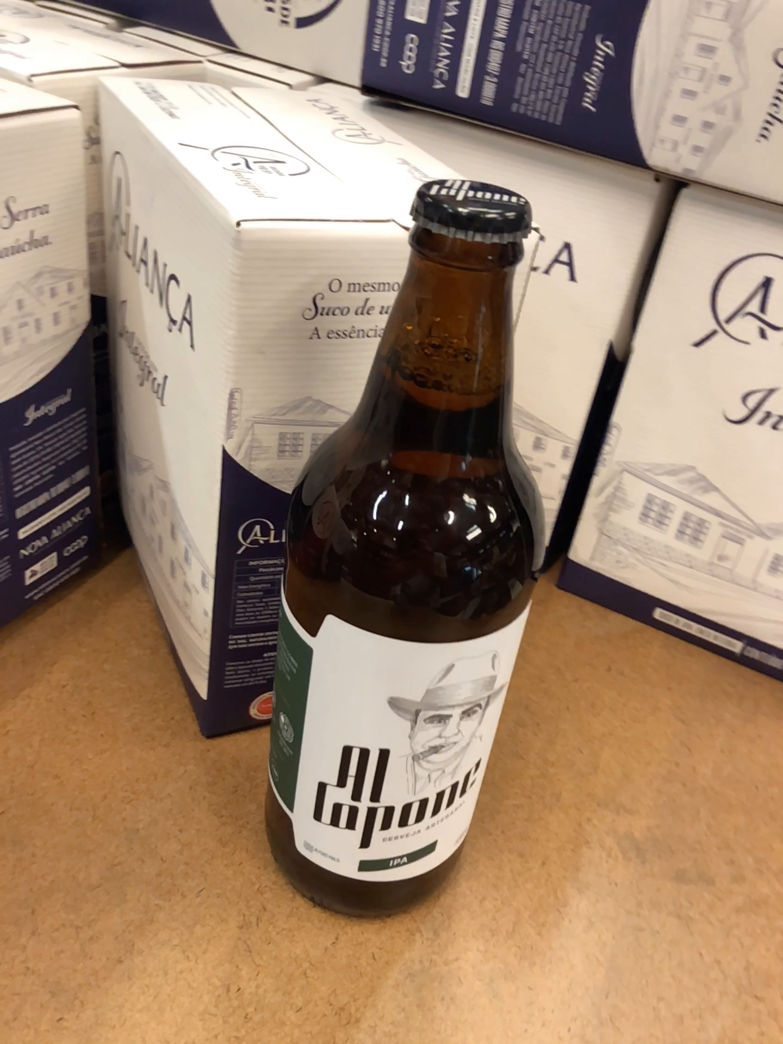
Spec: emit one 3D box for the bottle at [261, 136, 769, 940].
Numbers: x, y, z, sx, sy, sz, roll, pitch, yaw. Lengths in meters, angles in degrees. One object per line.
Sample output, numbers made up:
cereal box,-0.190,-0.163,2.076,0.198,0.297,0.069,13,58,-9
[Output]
bottle,0.012,0.021,0.254,0.080,0.228,0.070,-2,37,-16
